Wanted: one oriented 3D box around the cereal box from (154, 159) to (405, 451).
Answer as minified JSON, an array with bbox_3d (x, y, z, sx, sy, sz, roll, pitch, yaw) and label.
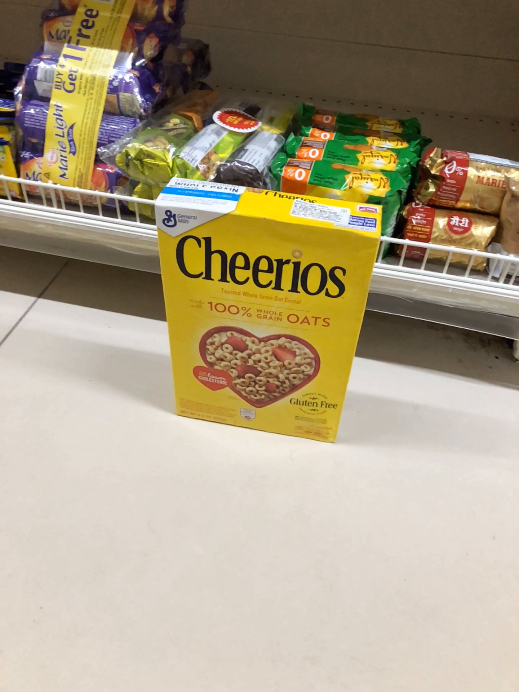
[{"bbox_3d":[0.013,-0.024,0.570,0.200,0.288,0.060,9,44,7],"label":"cereal box"}]
